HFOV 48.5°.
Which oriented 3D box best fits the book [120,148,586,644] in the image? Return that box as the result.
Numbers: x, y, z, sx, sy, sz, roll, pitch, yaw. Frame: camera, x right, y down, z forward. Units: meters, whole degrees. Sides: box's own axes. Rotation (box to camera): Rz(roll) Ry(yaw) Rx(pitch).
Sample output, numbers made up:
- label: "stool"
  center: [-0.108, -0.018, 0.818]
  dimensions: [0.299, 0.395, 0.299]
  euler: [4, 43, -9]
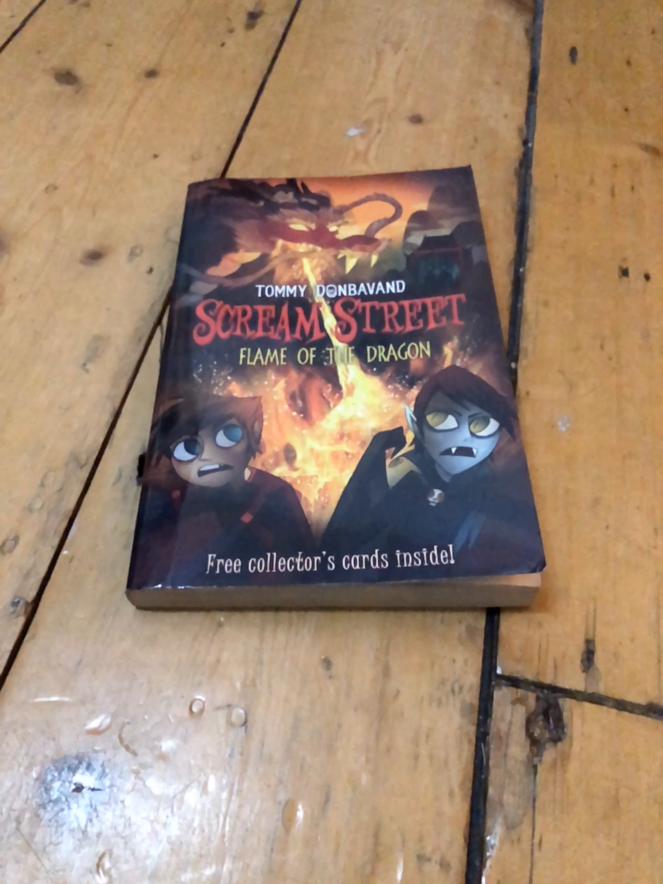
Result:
- label: "book"
  center: [0.005, -0.031, 0.277]
  dimensions: [0.130, 0.040, 0.201]
  euler: [-1, 56, 0]
